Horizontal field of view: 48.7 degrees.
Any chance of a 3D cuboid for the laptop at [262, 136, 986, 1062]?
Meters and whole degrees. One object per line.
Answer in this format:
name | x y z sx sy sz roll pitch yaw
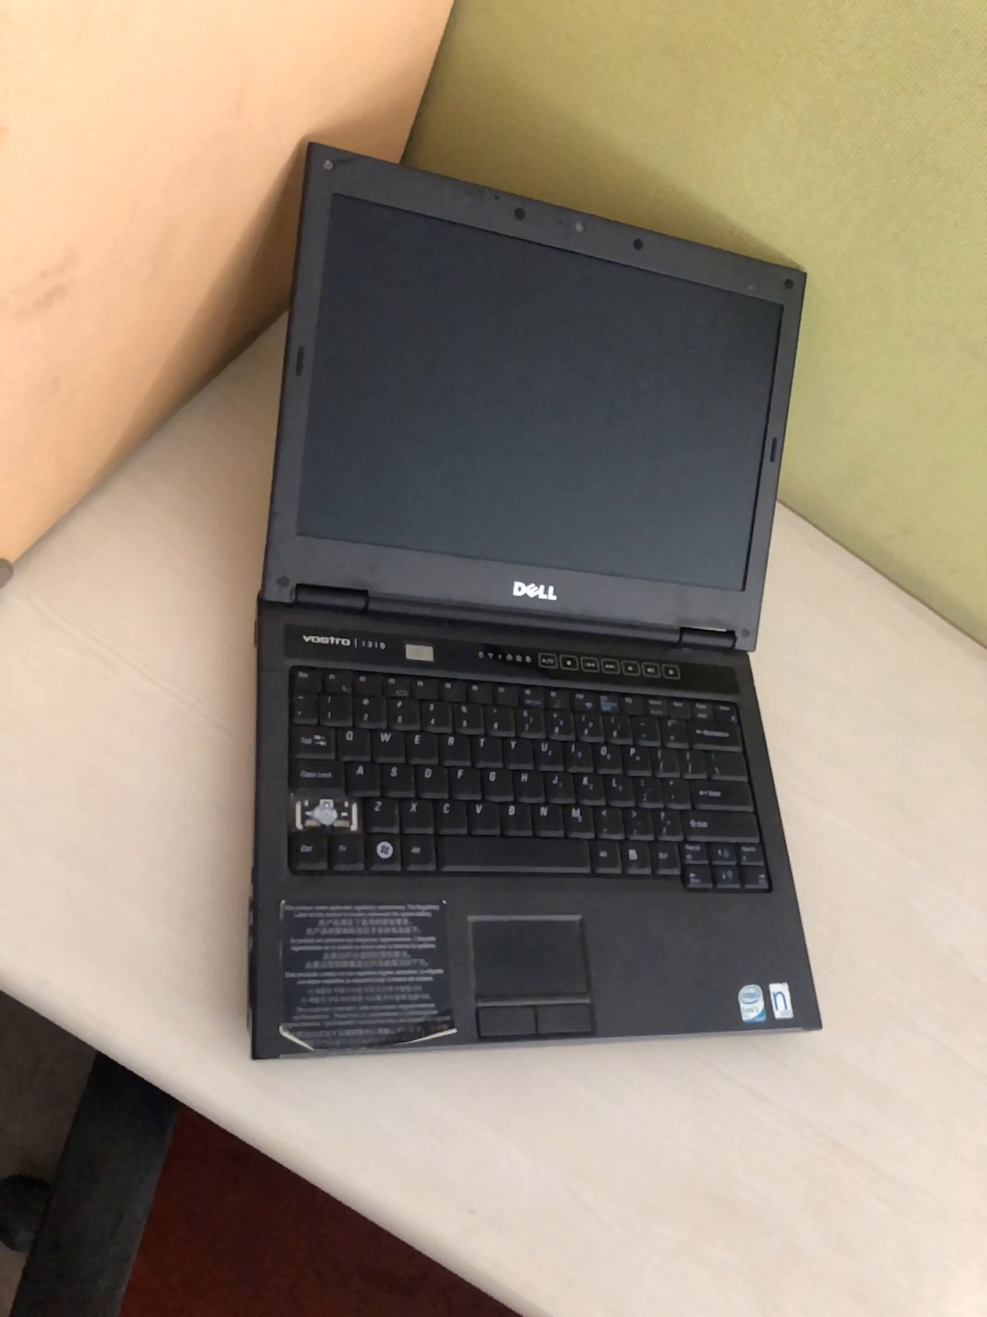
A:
laptop | 0.044 -0.034 0.578 0.306 0.125 0.431 5 64 -22
